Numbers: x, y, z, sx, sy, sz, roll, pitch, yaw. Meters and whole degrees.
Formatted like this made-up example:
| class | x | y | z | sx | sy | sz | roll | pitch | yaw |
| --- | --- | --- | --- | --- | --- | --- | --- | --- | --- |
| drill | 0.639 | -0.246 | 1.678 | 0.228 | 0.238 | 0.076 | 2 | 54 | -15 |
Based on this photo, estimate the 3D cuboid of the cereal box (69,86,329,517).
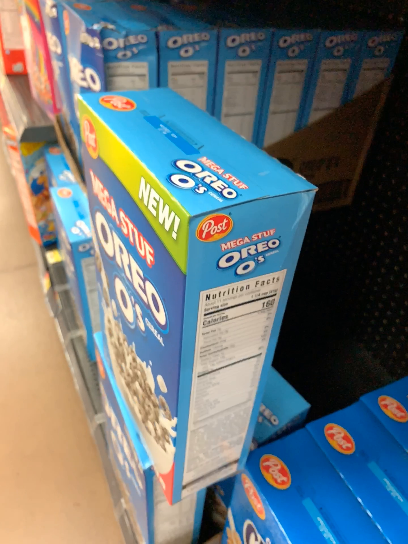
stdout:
| class | x | y | z | sx | sy | sz | roll | pitch | yaw |
| --- | --- | --- | --- | --- | --- | --- | --- | --- | --- |
| cereal box | -0.032 | 0.029 | 0.365 | 0.080 | 0.298 | 0.201 | -15 | 43 | -26 |
